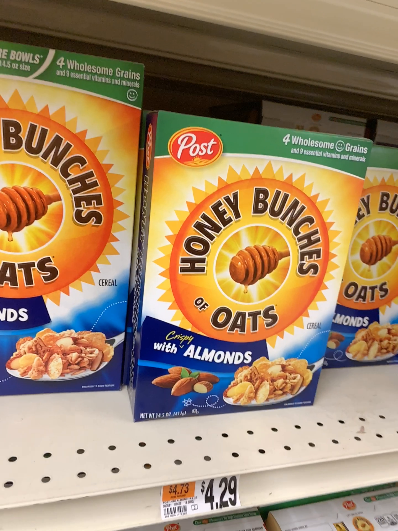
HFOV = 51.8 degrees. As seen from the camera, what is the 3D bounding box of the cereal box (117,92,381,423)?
[{"bbox_3d":[0.035,0.003,0.388,0.200,0.279,0.060,2,18,-18],"label":"cereal box"}]
